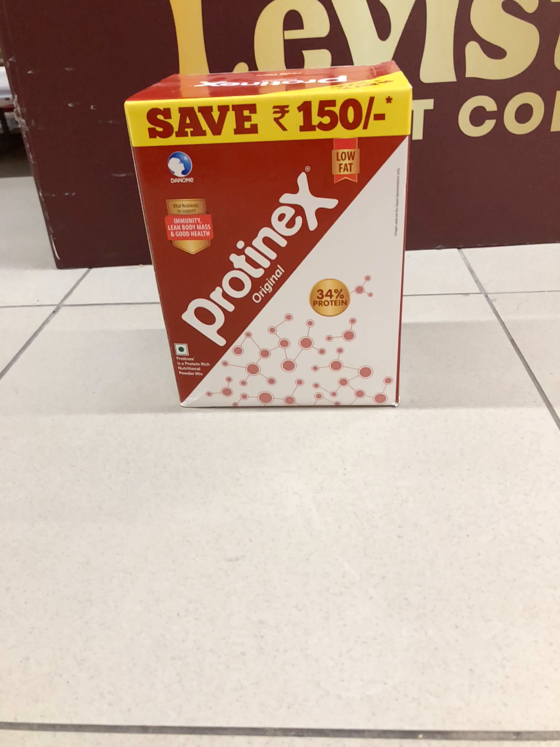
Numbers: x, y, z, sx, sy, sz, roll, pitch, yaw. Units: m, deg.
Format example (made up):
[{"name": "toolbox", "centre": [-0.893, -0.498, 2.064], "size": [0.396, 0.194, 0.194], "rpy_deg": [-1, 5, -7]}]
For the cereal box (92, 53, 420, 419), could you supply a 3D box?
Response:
[{"name": "cereal box", "centre": [-0.003, -0.087, 0.401], "size": [0.160, 0.199, 0.121], "rpy_deg": [-1, 31, 5]}]
